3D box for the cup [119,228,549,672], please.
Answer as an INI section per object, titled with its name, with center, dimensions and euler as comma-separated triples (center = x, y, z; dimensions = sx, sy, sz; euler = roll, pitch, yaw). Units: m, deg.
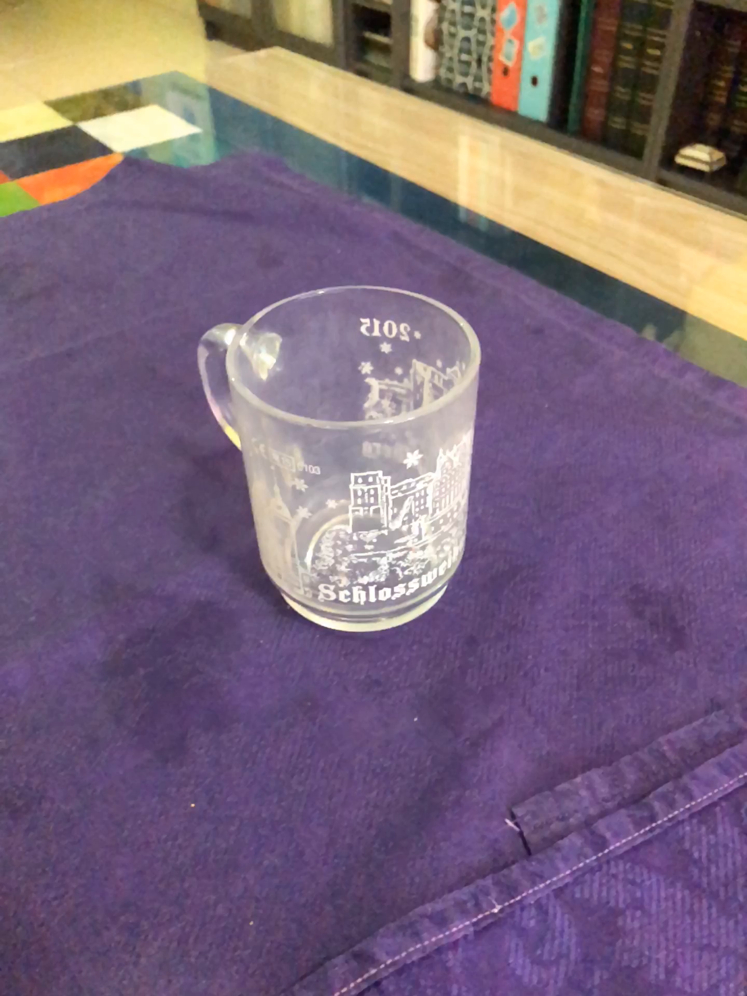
[cup]
center = -0.013, -0.020, 0.258
dimensions = 0.070, 0.080, 0.100
euler = -33, 51, -32
